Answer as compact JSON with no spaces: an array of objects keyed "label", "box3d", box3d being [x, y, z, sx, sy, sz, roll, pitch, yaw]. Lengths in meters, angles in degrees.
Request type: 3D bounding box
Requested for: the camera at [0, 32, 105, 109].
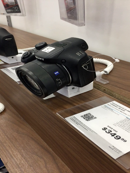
[{"label":"camera","box3d":[-0.021,-0.038,0.329,0.117,0.089,0.125,-32,42,-24]}]
